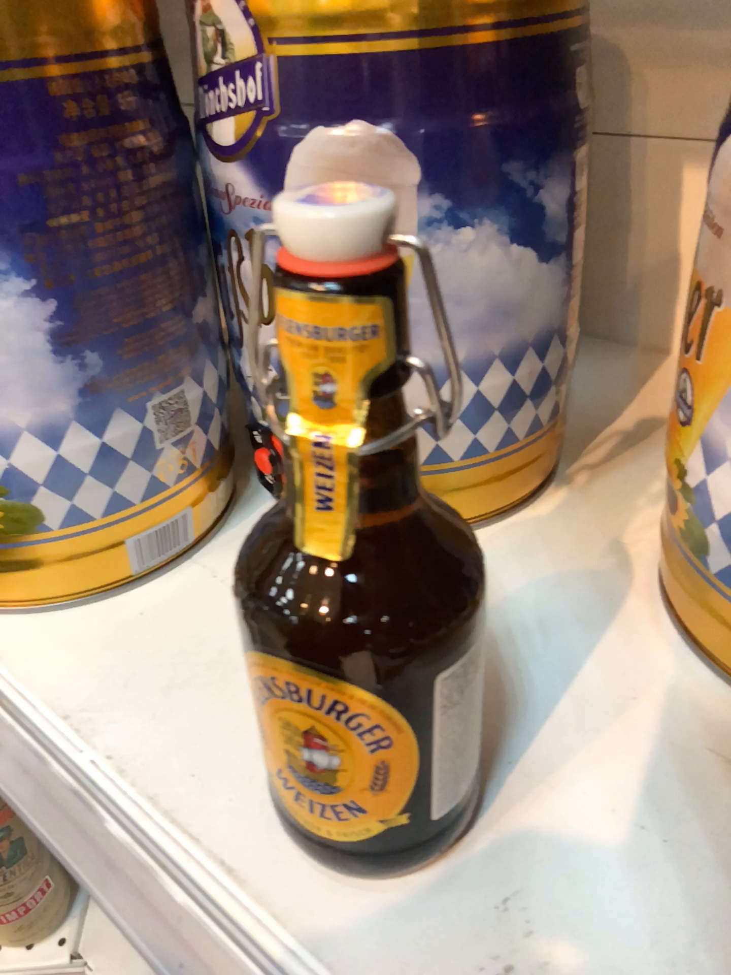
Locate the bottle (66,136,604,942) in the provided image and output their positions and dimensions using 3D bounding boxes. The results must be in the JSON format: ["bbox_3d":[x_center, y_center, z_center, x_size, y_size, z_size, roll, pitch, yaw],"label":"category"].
[{"bbox_3d":[0.004,0.016,0.217,0.080,0.189,0.080,-4,33,2],"label":"bottle"}]
